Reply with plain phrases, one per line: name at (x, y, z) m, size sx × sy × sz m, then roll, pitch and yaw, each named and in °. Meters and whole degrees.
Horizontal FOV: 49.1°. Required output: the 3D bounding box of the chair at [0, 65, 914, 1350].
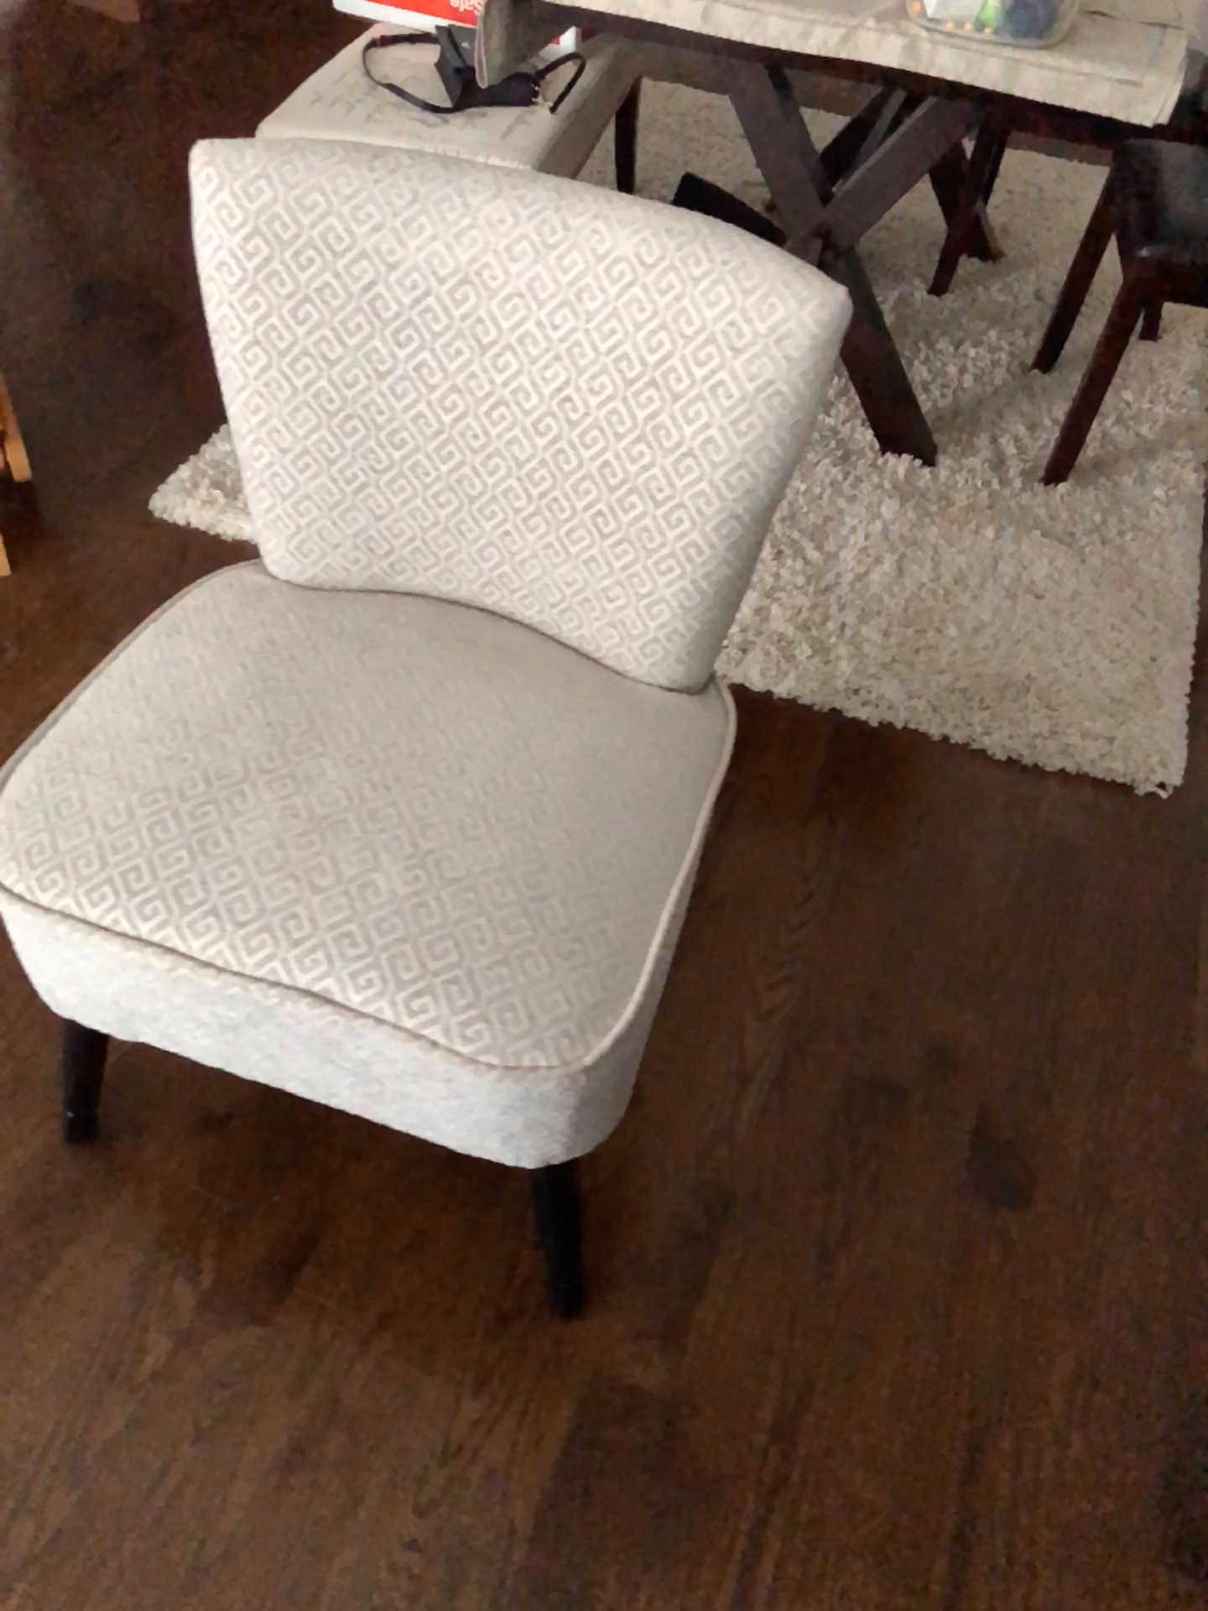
chair at (-0.168, -0.079, 1.186) m, size 0.600 × 0.797 × 0.642 m, roll 17°, pitch 47°, yaw 10°
